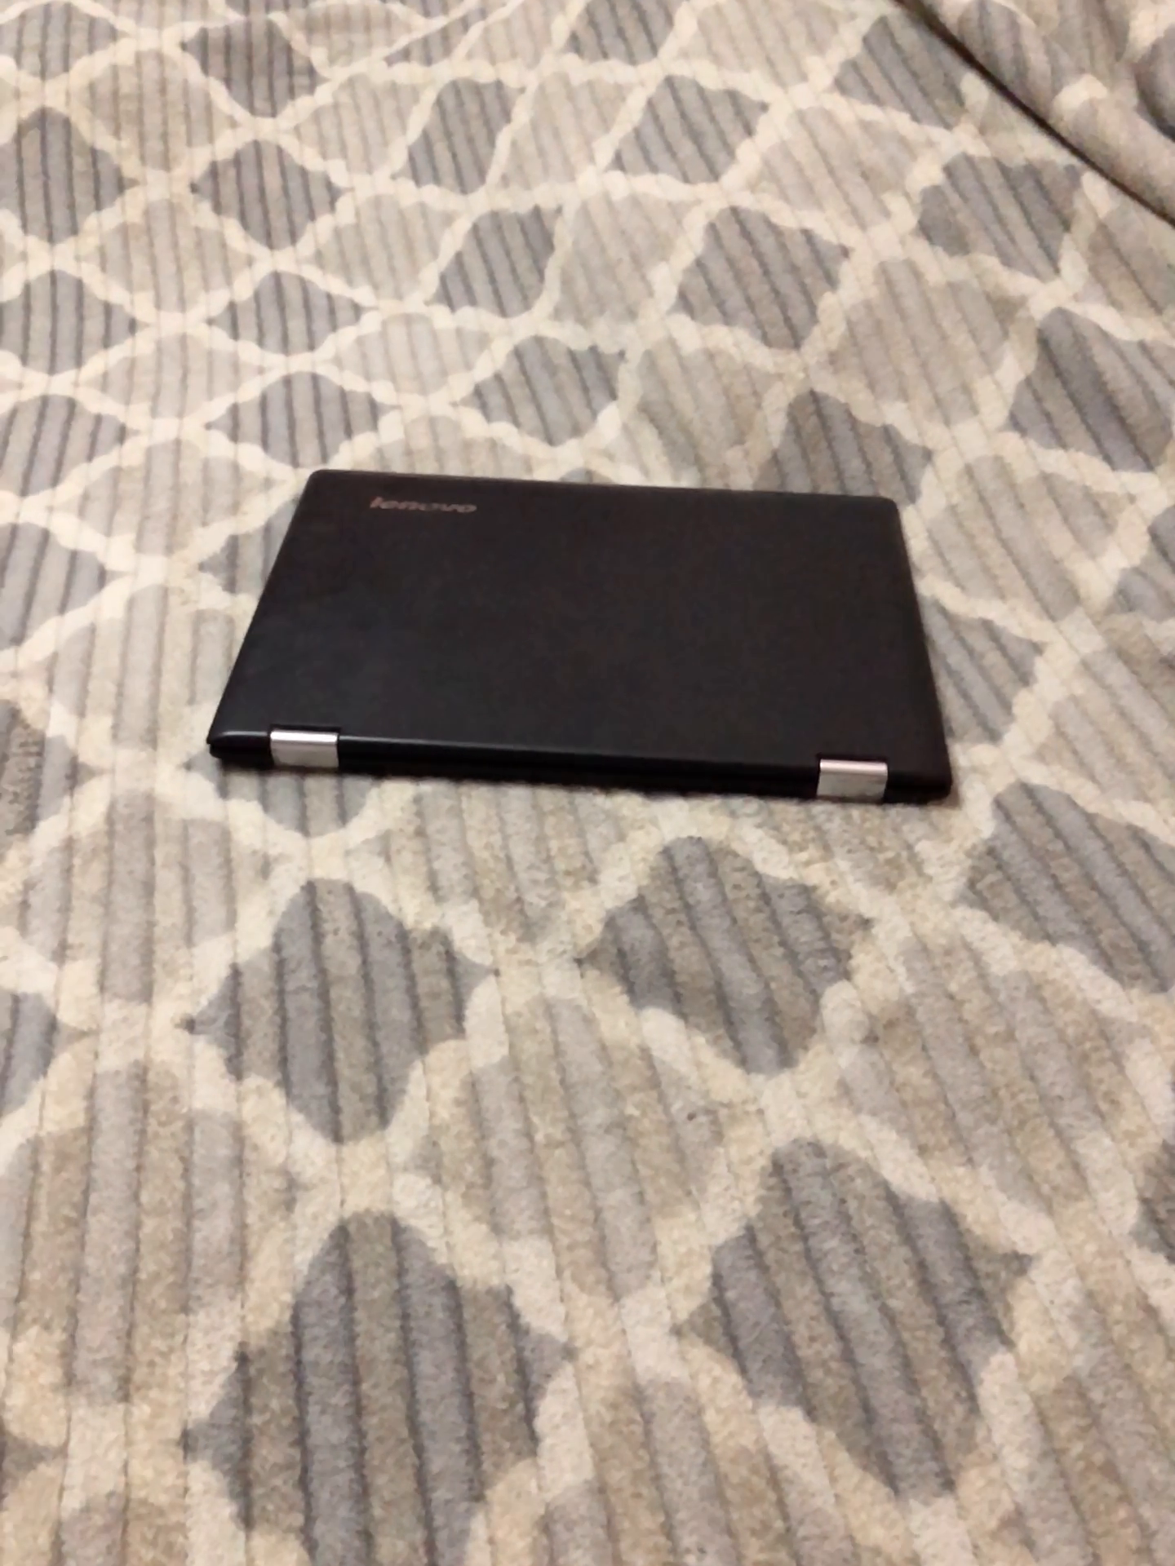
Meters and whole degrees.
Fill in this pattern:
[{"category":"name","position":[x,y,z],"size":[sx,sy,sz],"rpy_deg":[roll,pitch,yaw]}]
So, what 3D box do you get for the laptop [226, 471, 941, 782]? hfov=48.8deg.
[{"category":"laptop","position":[0.005,-0.094,0.696],"size":[0.339,0.005,0.232],"rpy_deg":[3,46,1]}]
